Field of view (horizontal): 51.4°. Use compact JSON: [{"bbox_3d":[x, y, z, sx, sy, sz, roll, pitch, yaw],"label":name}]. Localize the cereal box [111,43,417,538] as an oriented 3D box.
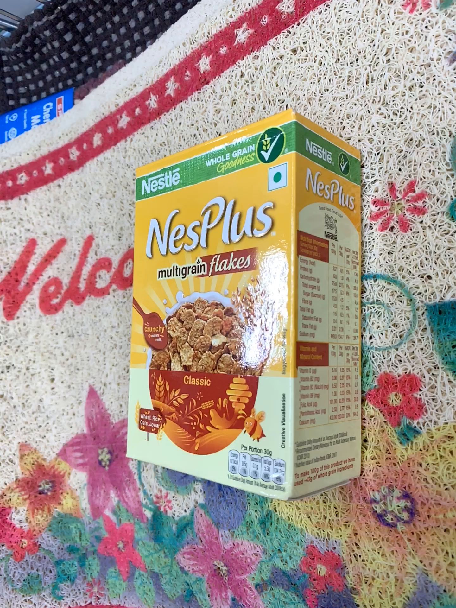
[{"bbox_3d":[0.008,-0.003,0.202,0.131,0.040,0.150,-3,82,45],"label":"cereal box"}]
